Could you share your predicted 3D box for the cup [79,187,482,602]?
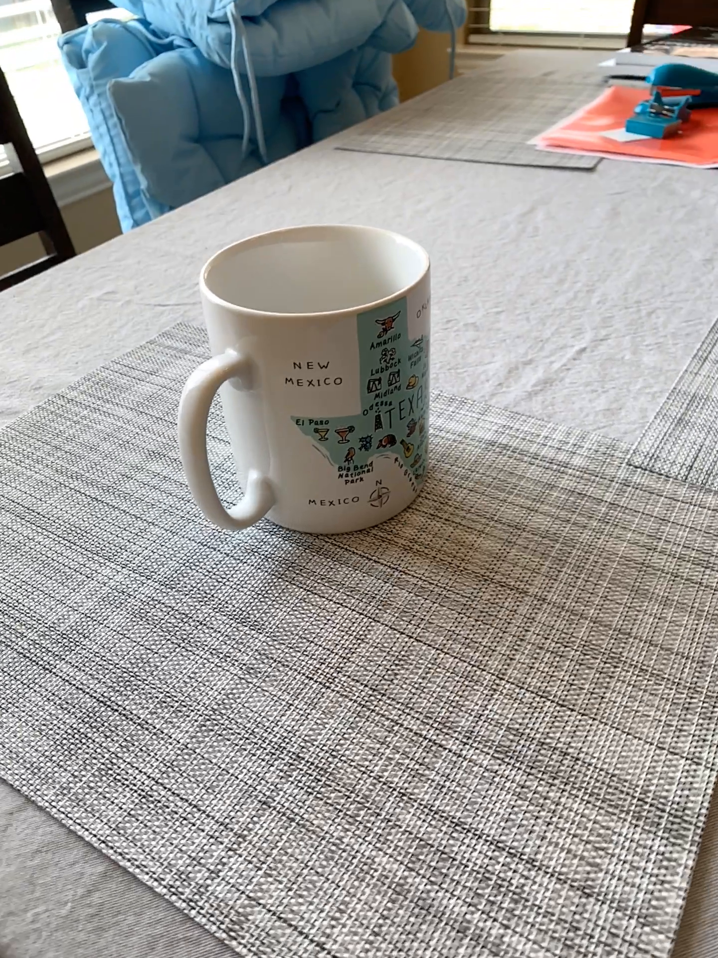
[{"bbox_3d":[-0.033,-0.052,0.385,0.151,0.136,0.112,-29,44,-27],"label":"cup"}]
